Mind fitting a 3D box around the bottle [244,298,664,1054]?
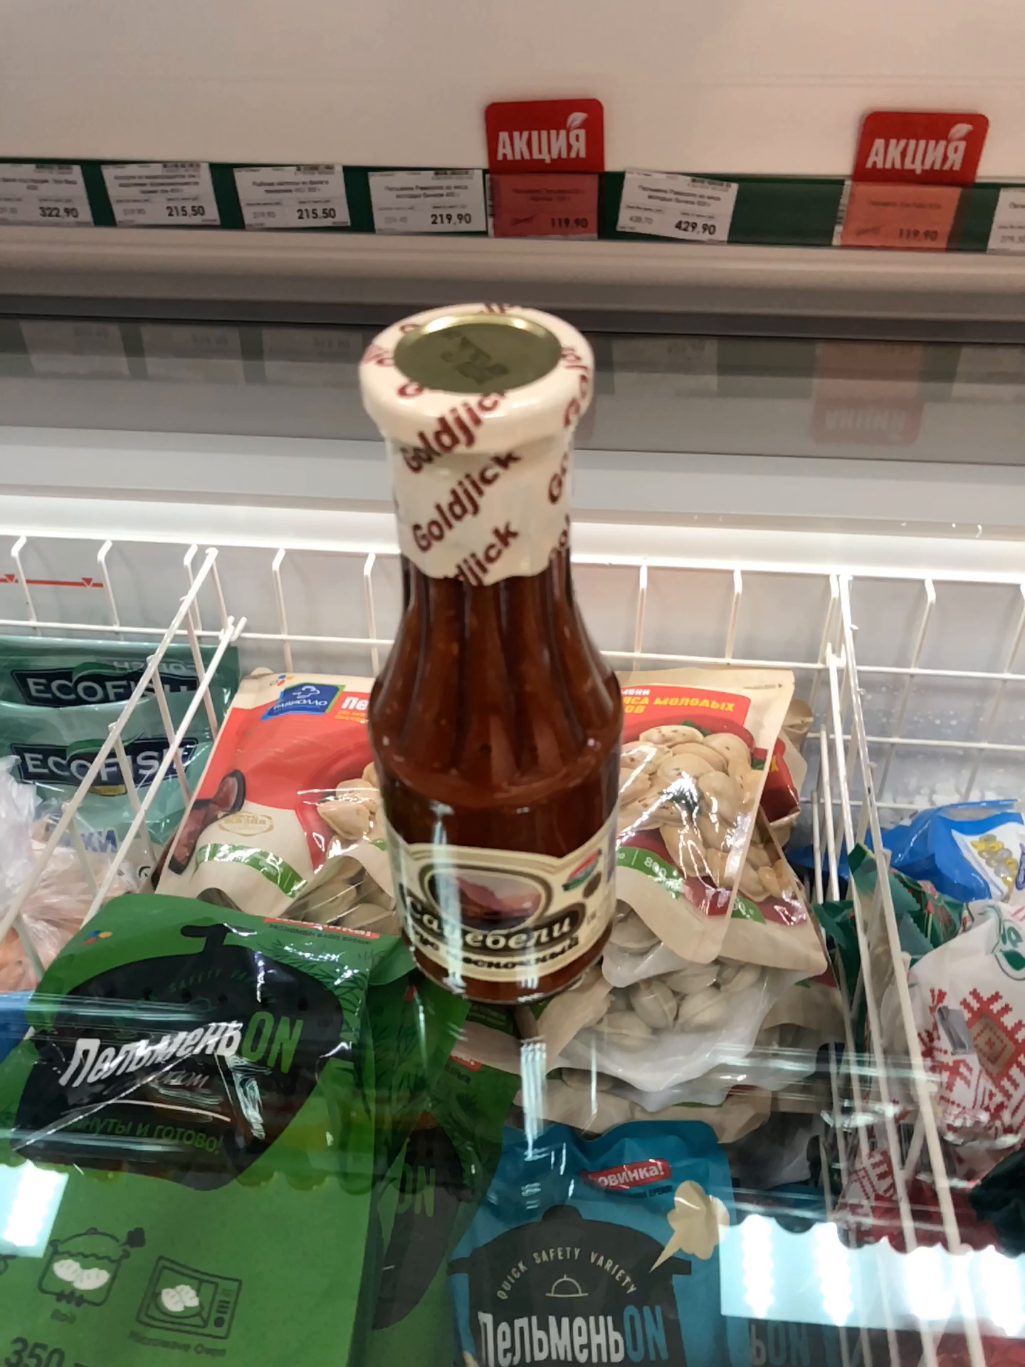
[{"bbox_3d":[-0.005,0.009,0.272,0.070,0.179,0.070,-1,42,1],"label":"bottle"}]
